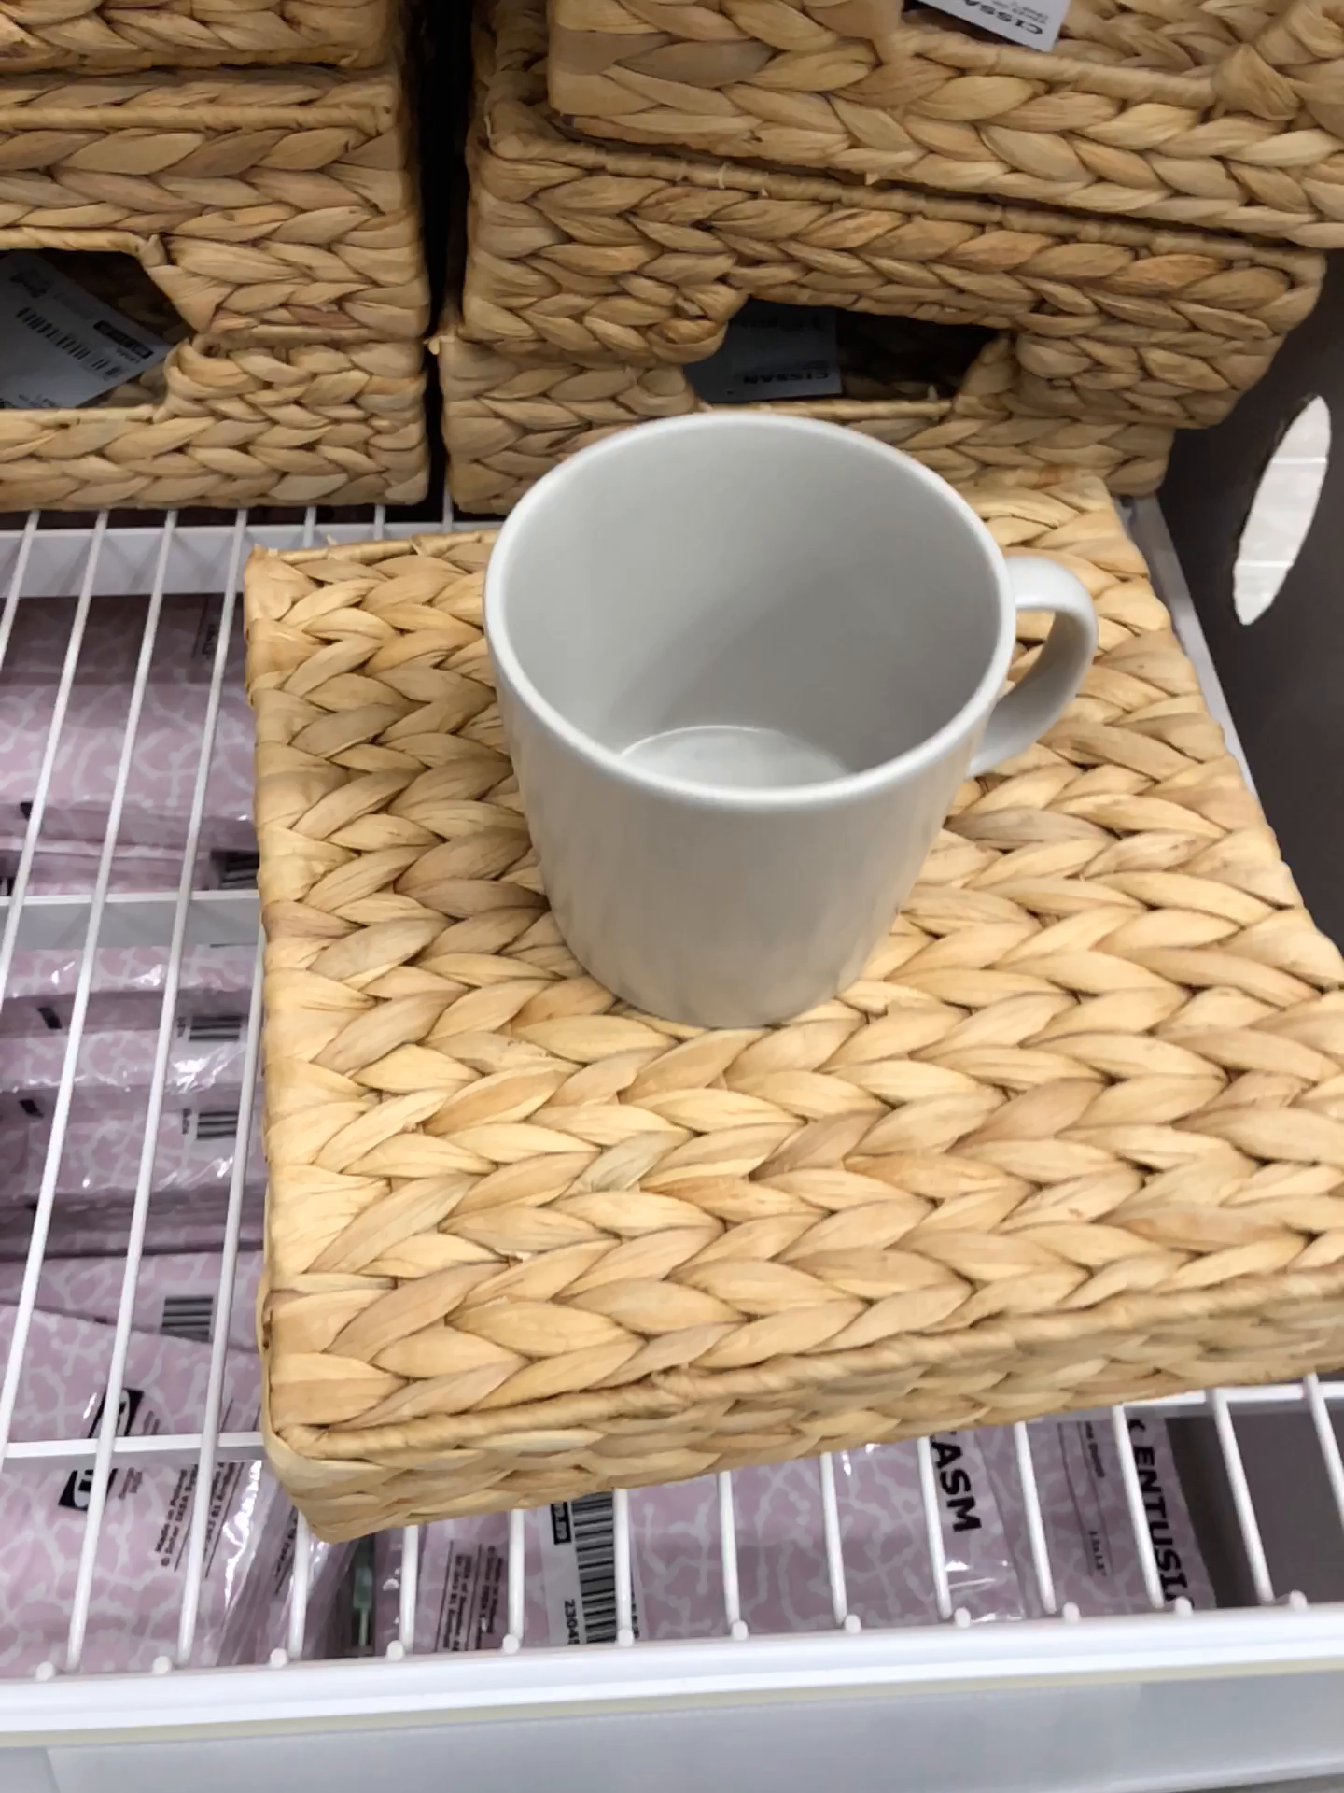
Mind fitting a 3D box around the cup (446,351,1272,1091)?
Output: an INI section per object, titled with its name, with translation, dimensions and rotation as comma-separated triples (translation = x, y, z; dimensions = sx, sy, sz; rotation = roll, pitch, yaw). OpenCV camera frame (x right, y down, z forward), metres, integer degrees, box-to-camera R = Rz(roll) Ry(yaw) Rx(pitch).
[cup]
translation = 0.026, -0.033, 0.290
dimensions = 0.120, 0.090, 0.090
rotation = -9, 56, -7
